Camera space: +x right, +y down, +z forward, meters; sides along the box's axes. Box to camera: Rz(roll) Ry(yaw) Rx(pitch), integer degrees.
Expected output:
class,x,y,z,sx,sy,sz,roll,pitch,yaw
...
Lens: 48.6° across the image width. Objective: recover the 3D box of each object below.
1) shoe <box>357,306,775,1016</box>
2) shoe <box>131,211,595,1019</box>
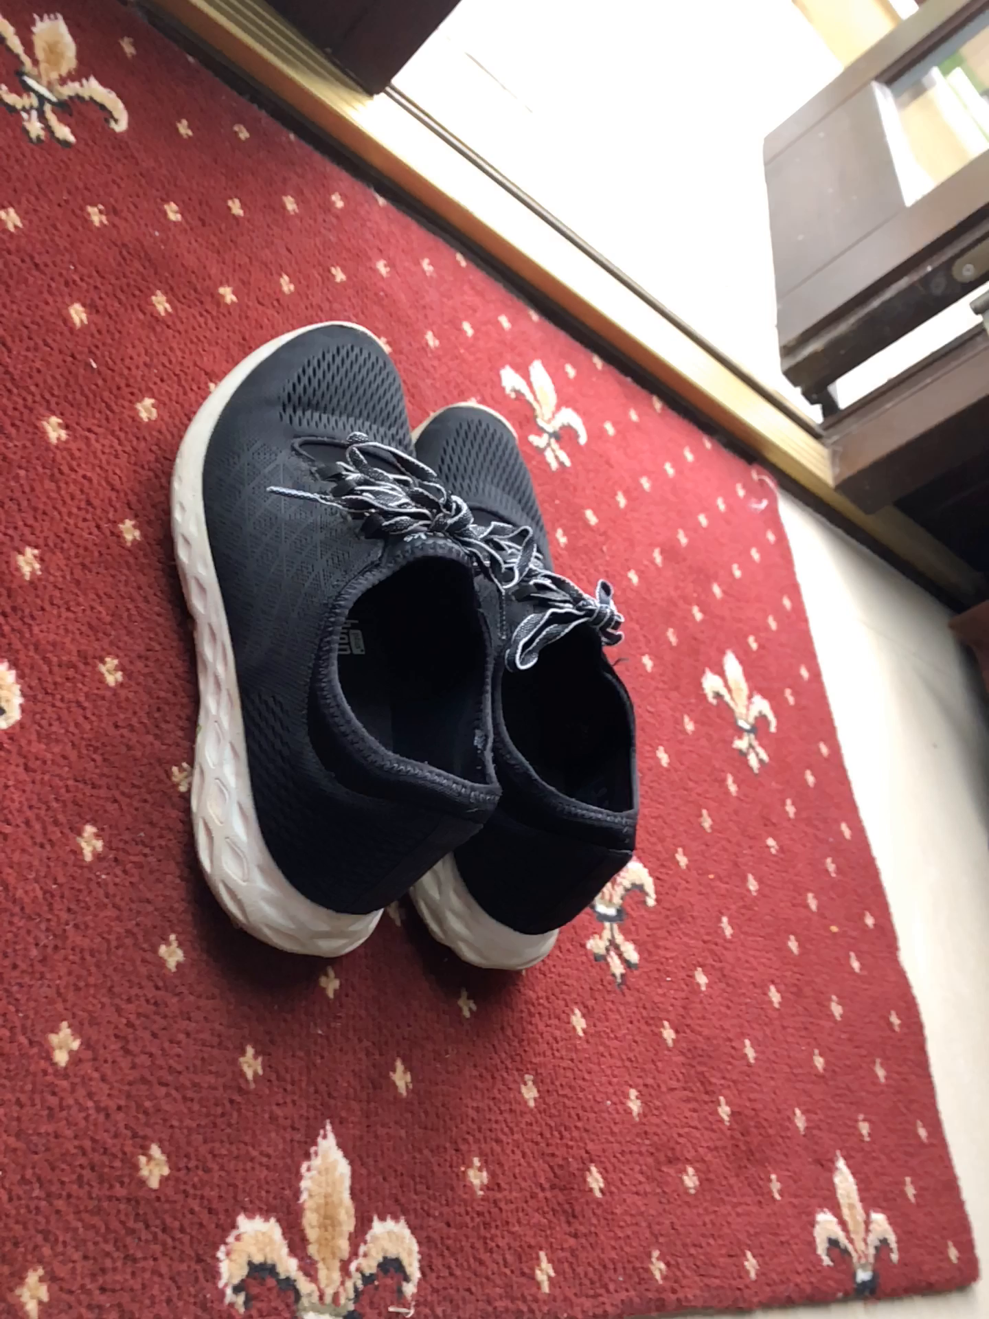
class,x,y,z,sx,sy,sz,roll,pitch,yaw
shoe,0.017,-0.002,0.474,0.100,0.109,0.271,23,48,-39
shoe,-0.058,-0.018,0.415,0.100,0.109,0.271,21,50,-40
